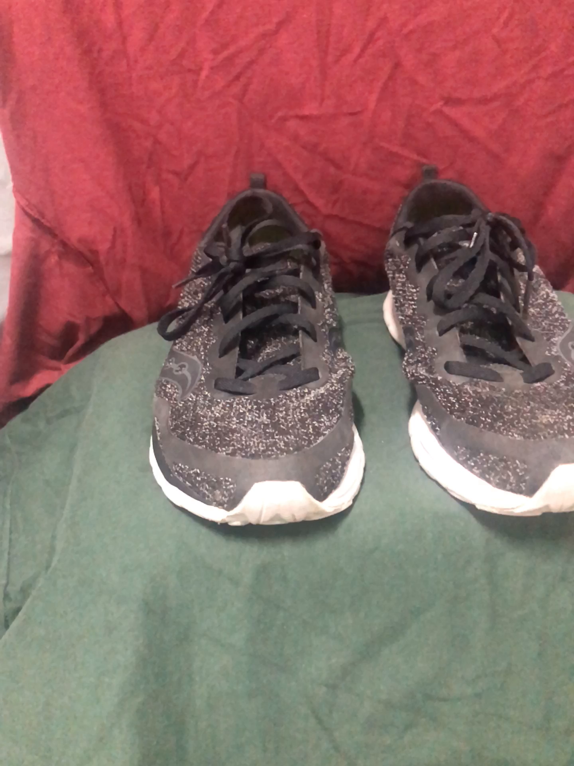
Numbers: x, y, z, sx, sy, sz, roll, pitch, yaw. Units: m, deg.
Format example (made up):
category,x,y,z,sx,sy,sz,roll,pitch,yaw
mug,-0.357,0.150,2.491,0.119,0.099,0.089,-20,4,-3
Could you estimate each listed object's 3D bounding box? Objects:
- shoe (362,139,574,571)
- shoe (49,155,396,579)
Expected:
category,x,y,z,sx,sy,sz,roll,pitch,yaw
shoe,0.117,-0.042,0.342,0.120,0.099,0.262,-6,33,3
shoe,-0.023,-0.038,0.361,0.120,0.099,0.273,-7,33,2
